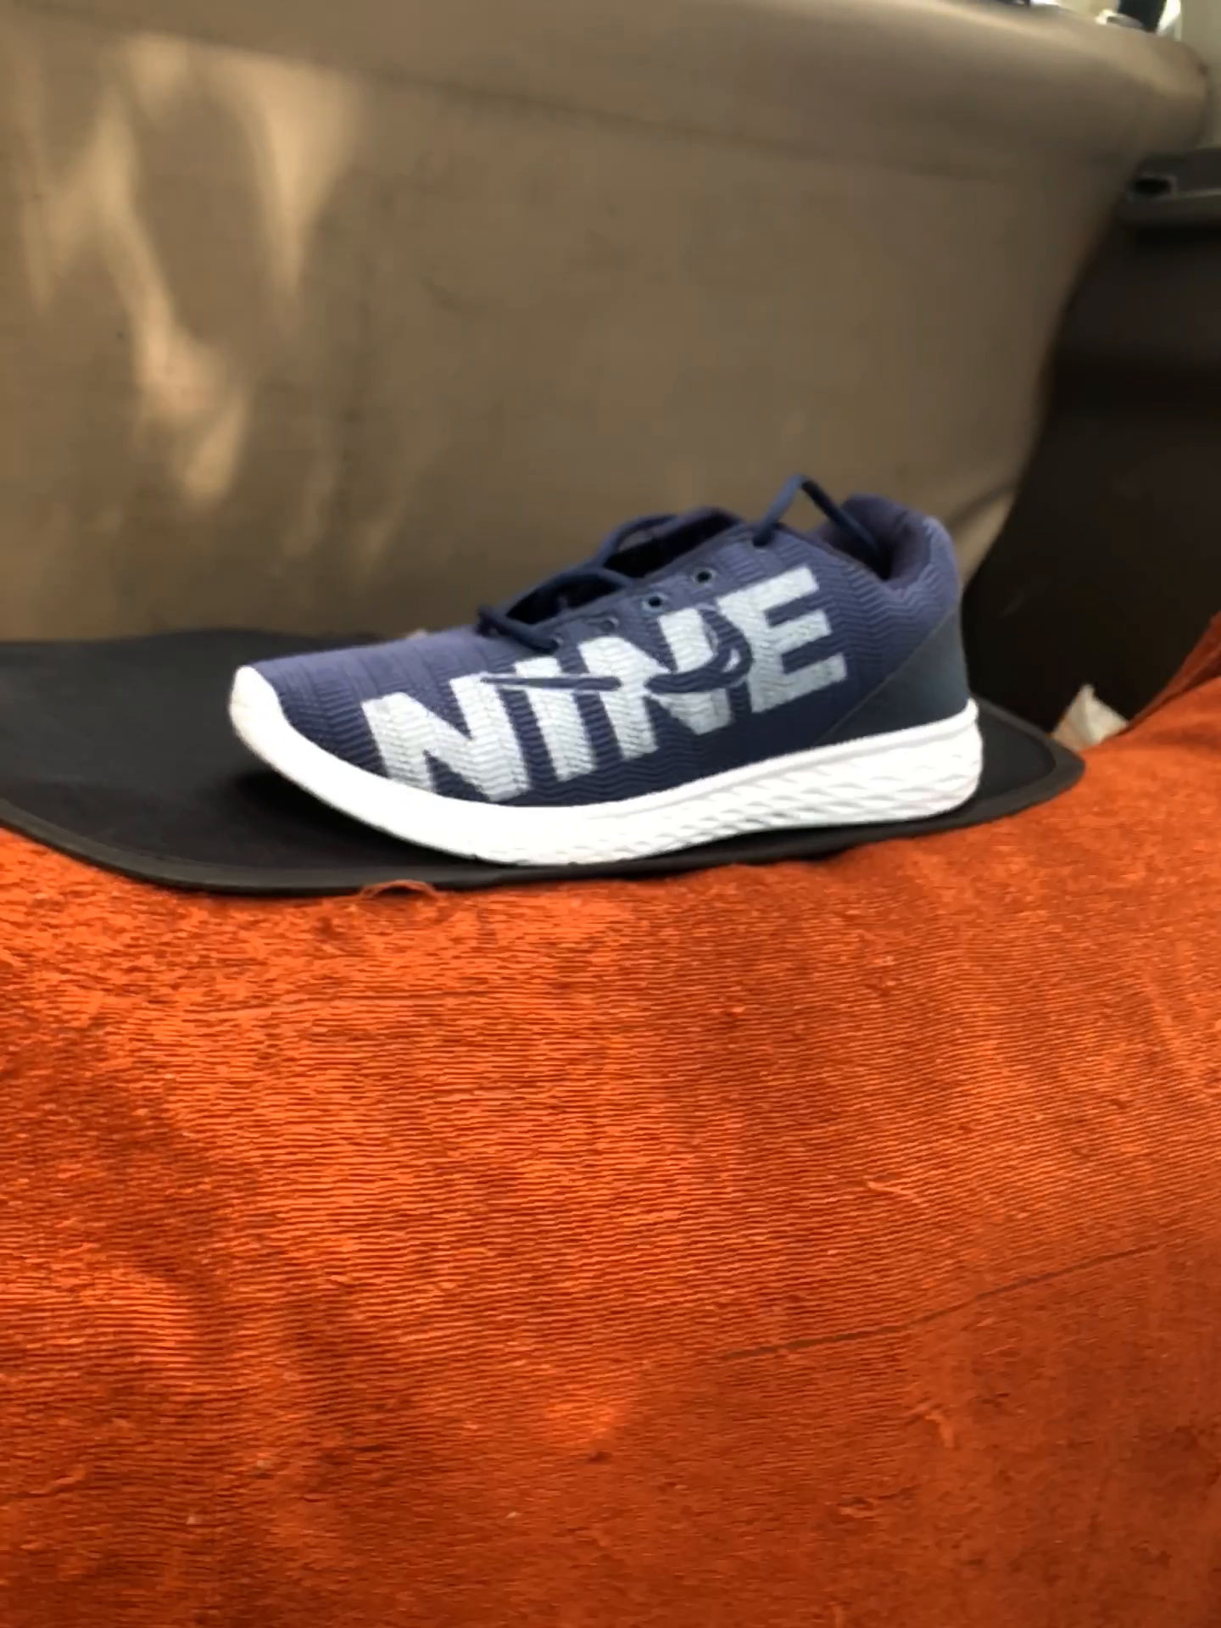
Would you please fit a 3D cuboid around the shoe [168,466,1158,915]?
[{"bbox_3d":[0.014,-0.056,0.455,0.291,0.100,0.130,-6,22,-23],"label":"shoe"}]
